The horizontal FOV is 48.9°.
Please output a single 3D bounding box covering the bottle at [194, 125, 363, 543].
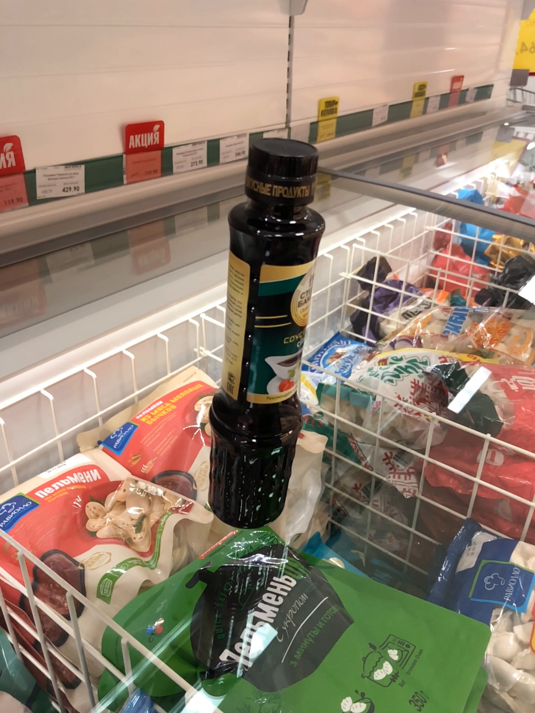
[{"bbox_3d":[0.001,-0.005,0.299,0.053,0.199,0.058,4,30,-2],"label":"bottle"}]
